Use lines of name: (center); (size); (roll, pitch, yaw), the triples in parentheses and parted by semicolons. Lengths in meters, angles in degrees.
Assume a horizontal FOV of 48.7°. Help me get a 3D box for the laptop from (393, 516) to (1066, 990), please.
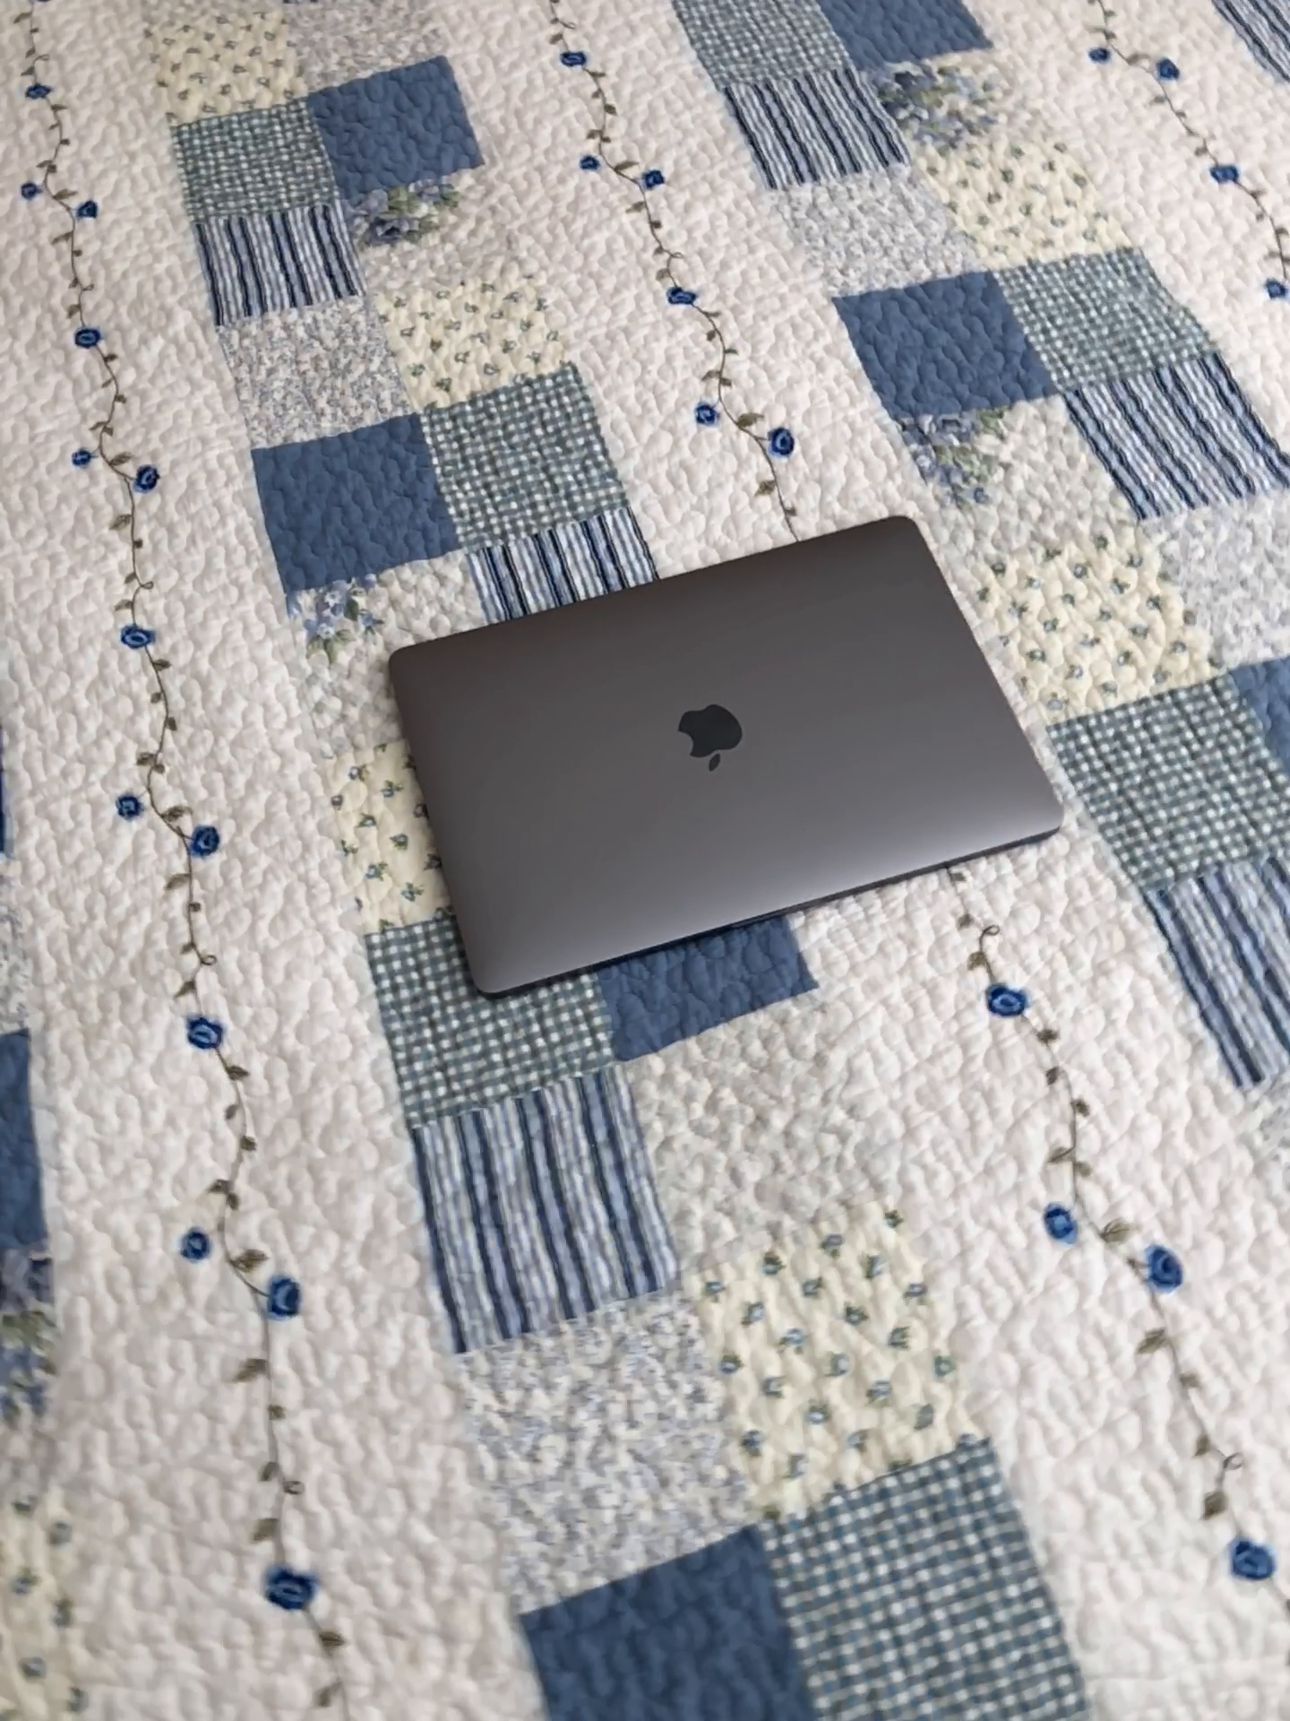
laptop: (0.035, -0.064, 0.719); (0.290, 0.005, 0.202); (-16, 62, -6)
